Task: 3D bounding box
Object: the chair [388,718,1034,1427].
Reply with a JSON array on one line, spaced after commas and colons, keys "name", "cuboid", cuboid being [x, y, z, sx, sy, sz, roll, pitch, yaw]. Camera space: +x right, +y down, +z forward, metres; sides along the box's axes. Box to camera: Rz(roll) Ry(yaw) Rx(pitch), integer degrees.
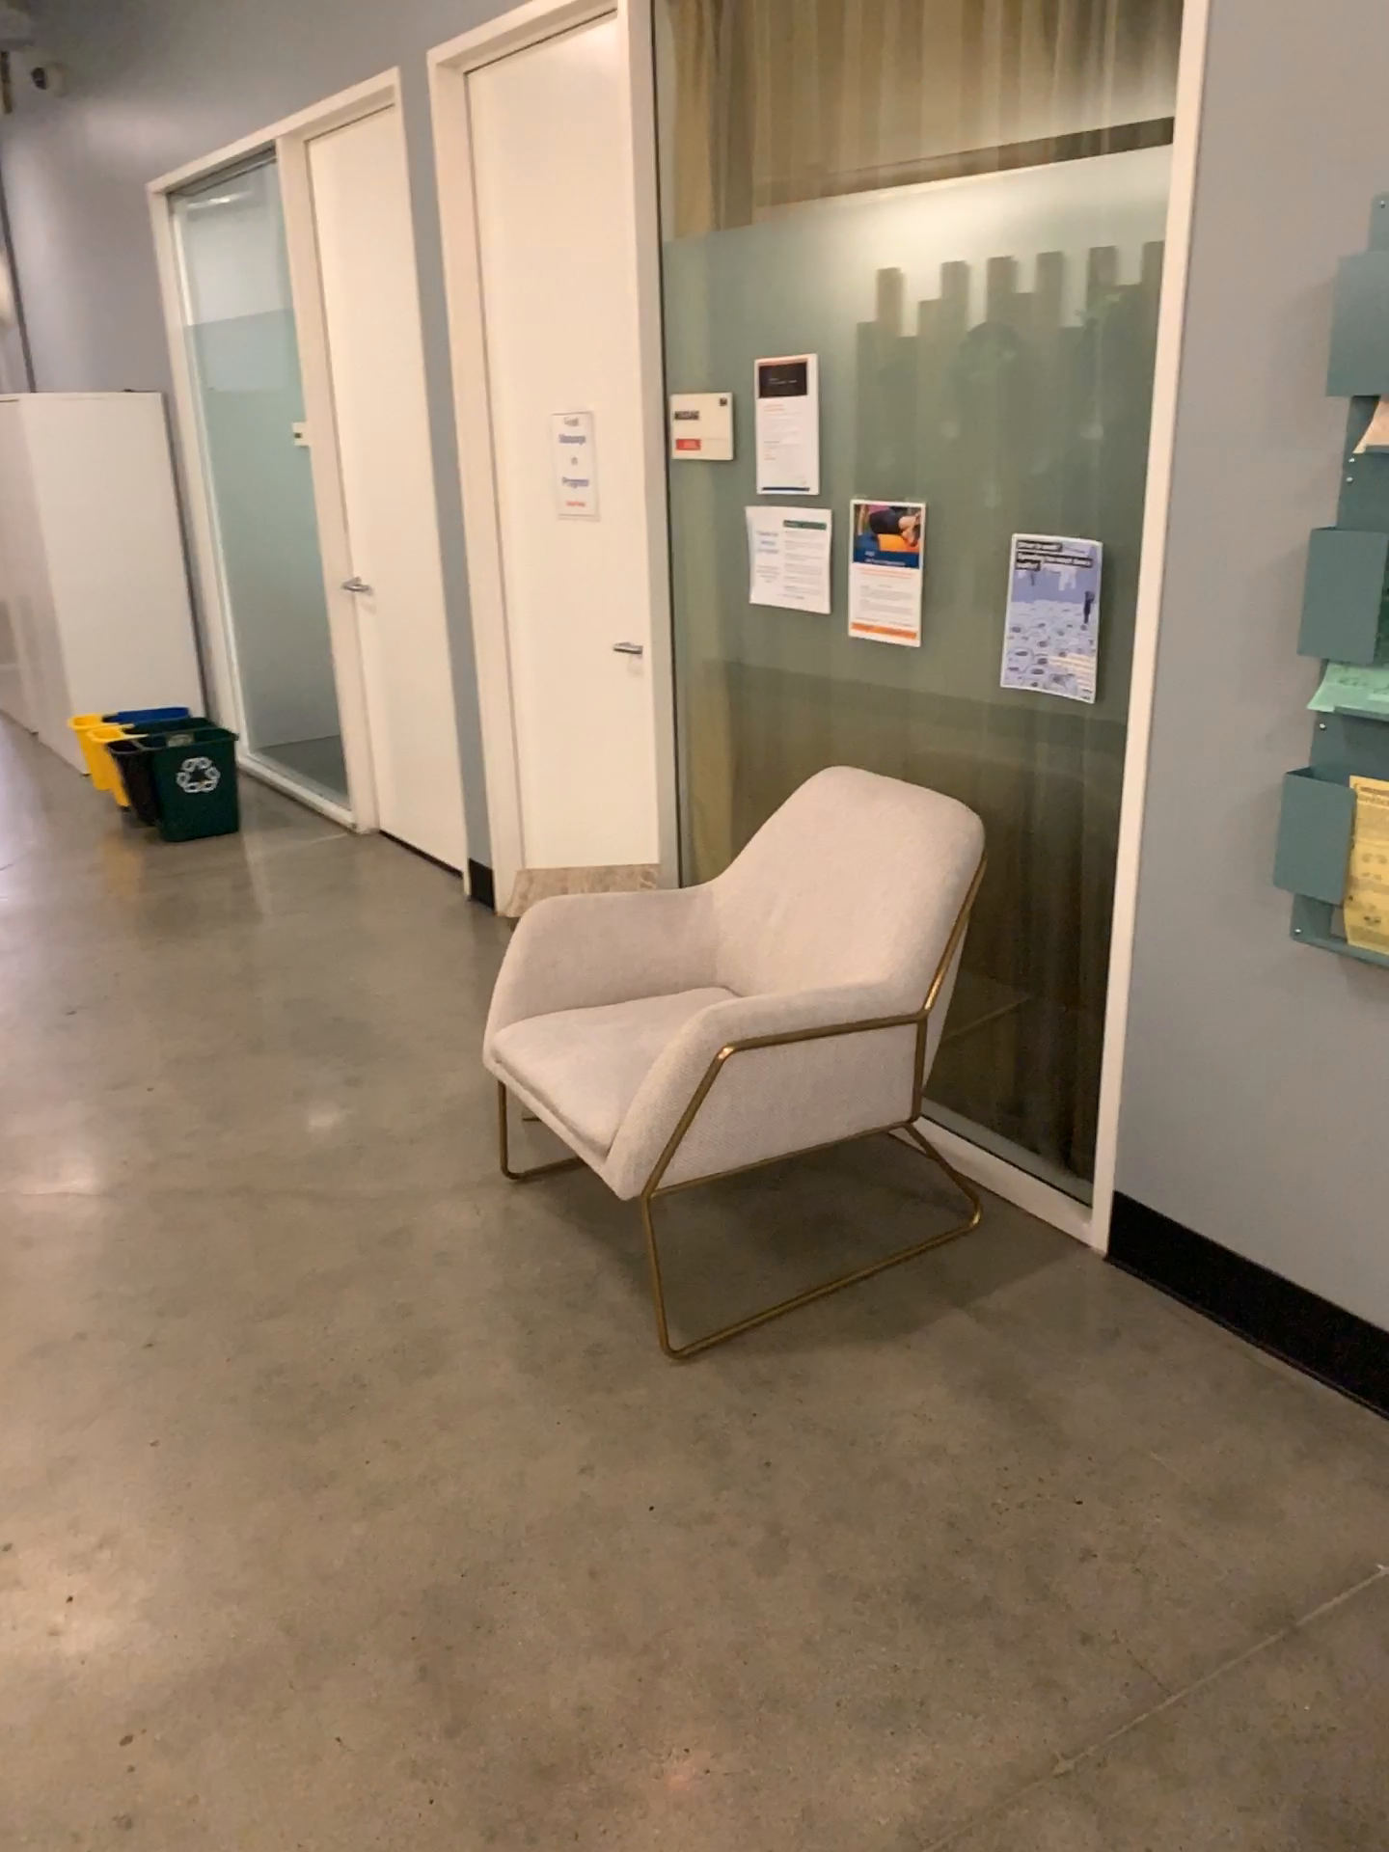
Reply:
[{"name": "chair", "cuboid": [0.021, 0.184, 2.698, 0.871, 0.926, 0.783, -14, 23, -30]}]
